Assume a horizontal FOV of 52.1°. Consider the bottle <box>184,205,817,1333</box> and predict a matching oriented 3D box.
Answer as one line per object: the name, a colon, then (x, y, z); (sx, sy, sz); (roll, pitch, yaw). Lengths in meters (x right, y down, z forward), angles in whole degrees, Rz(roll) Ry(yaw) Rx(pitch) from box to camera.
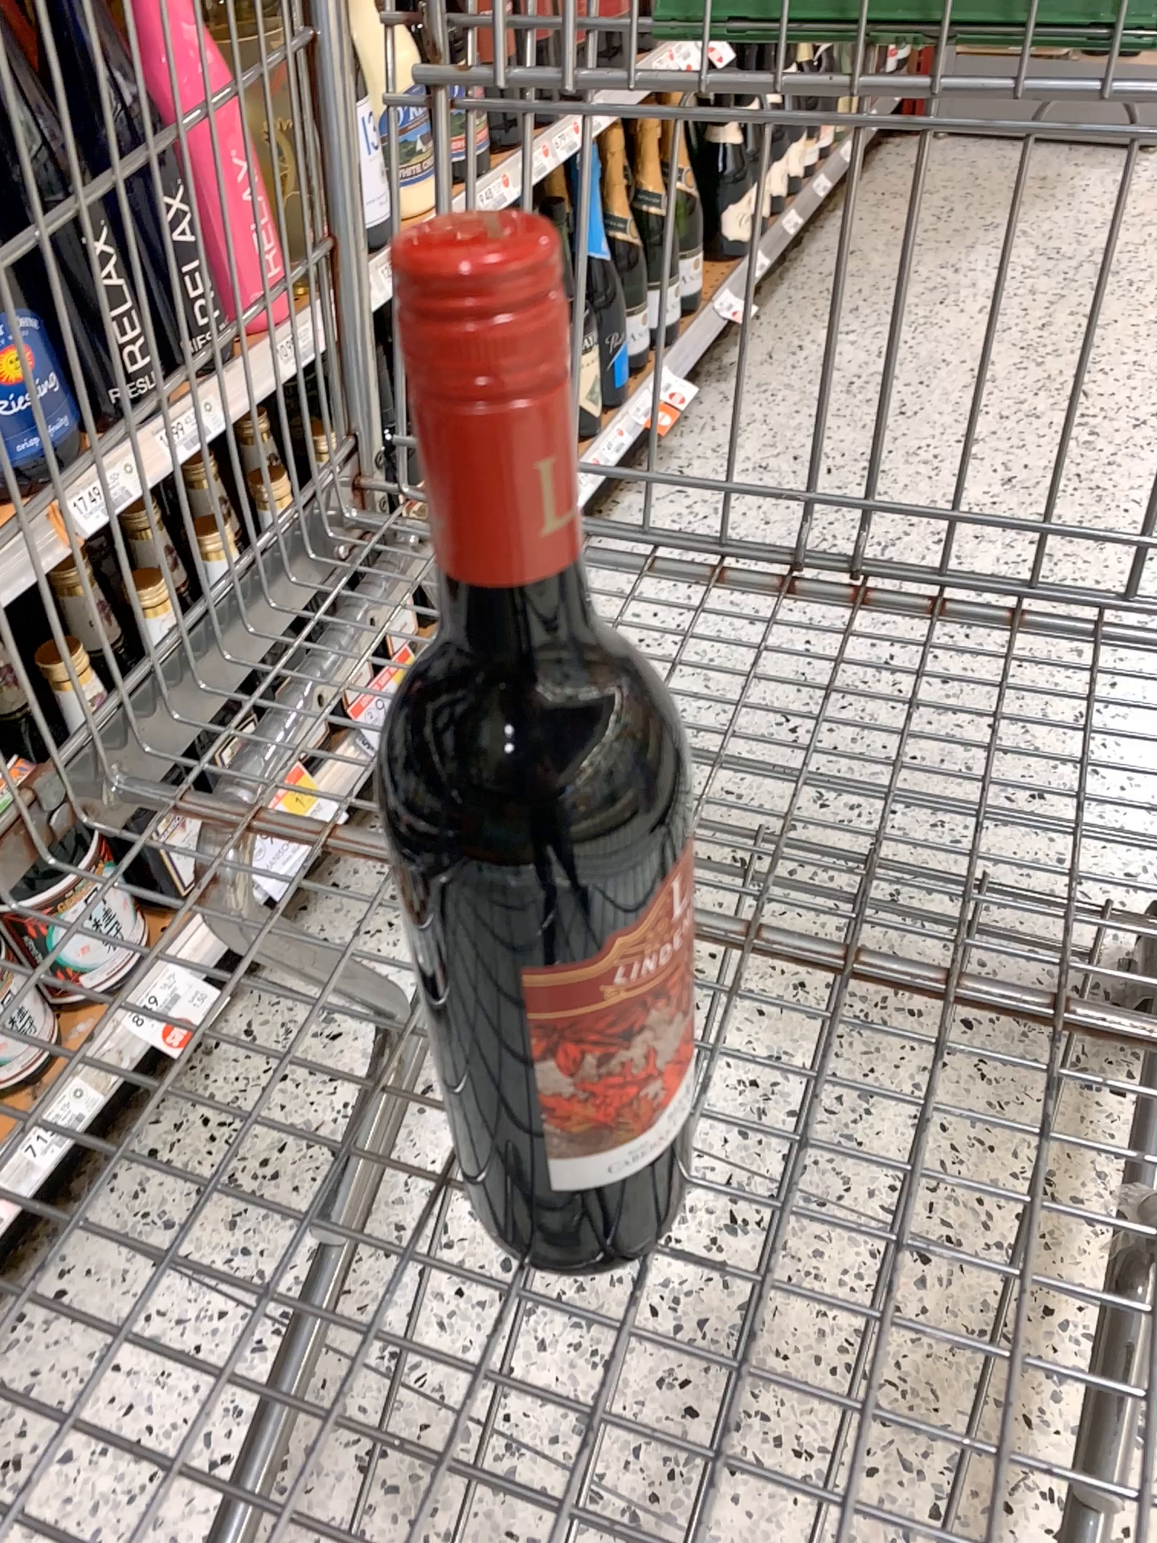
bottle: (-0.003, 0.024, 0.305); (0.080, 0.287, 0.091); (15, 45, 19)
